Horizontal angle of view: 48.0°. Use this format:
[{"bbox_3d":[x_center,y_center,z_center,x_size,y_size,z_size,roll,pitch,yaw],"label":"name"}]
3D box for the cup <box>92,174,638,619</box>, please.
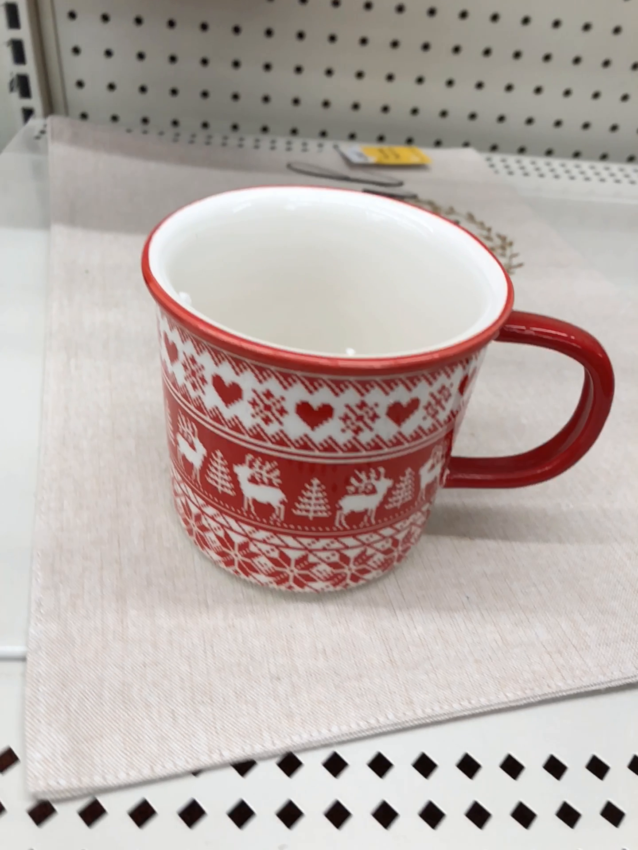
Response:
[{"bbox_3d":[0.018,-0.009,0.238,0.150,0.100,0.100,3,41,-5],"label":"cup"}]
